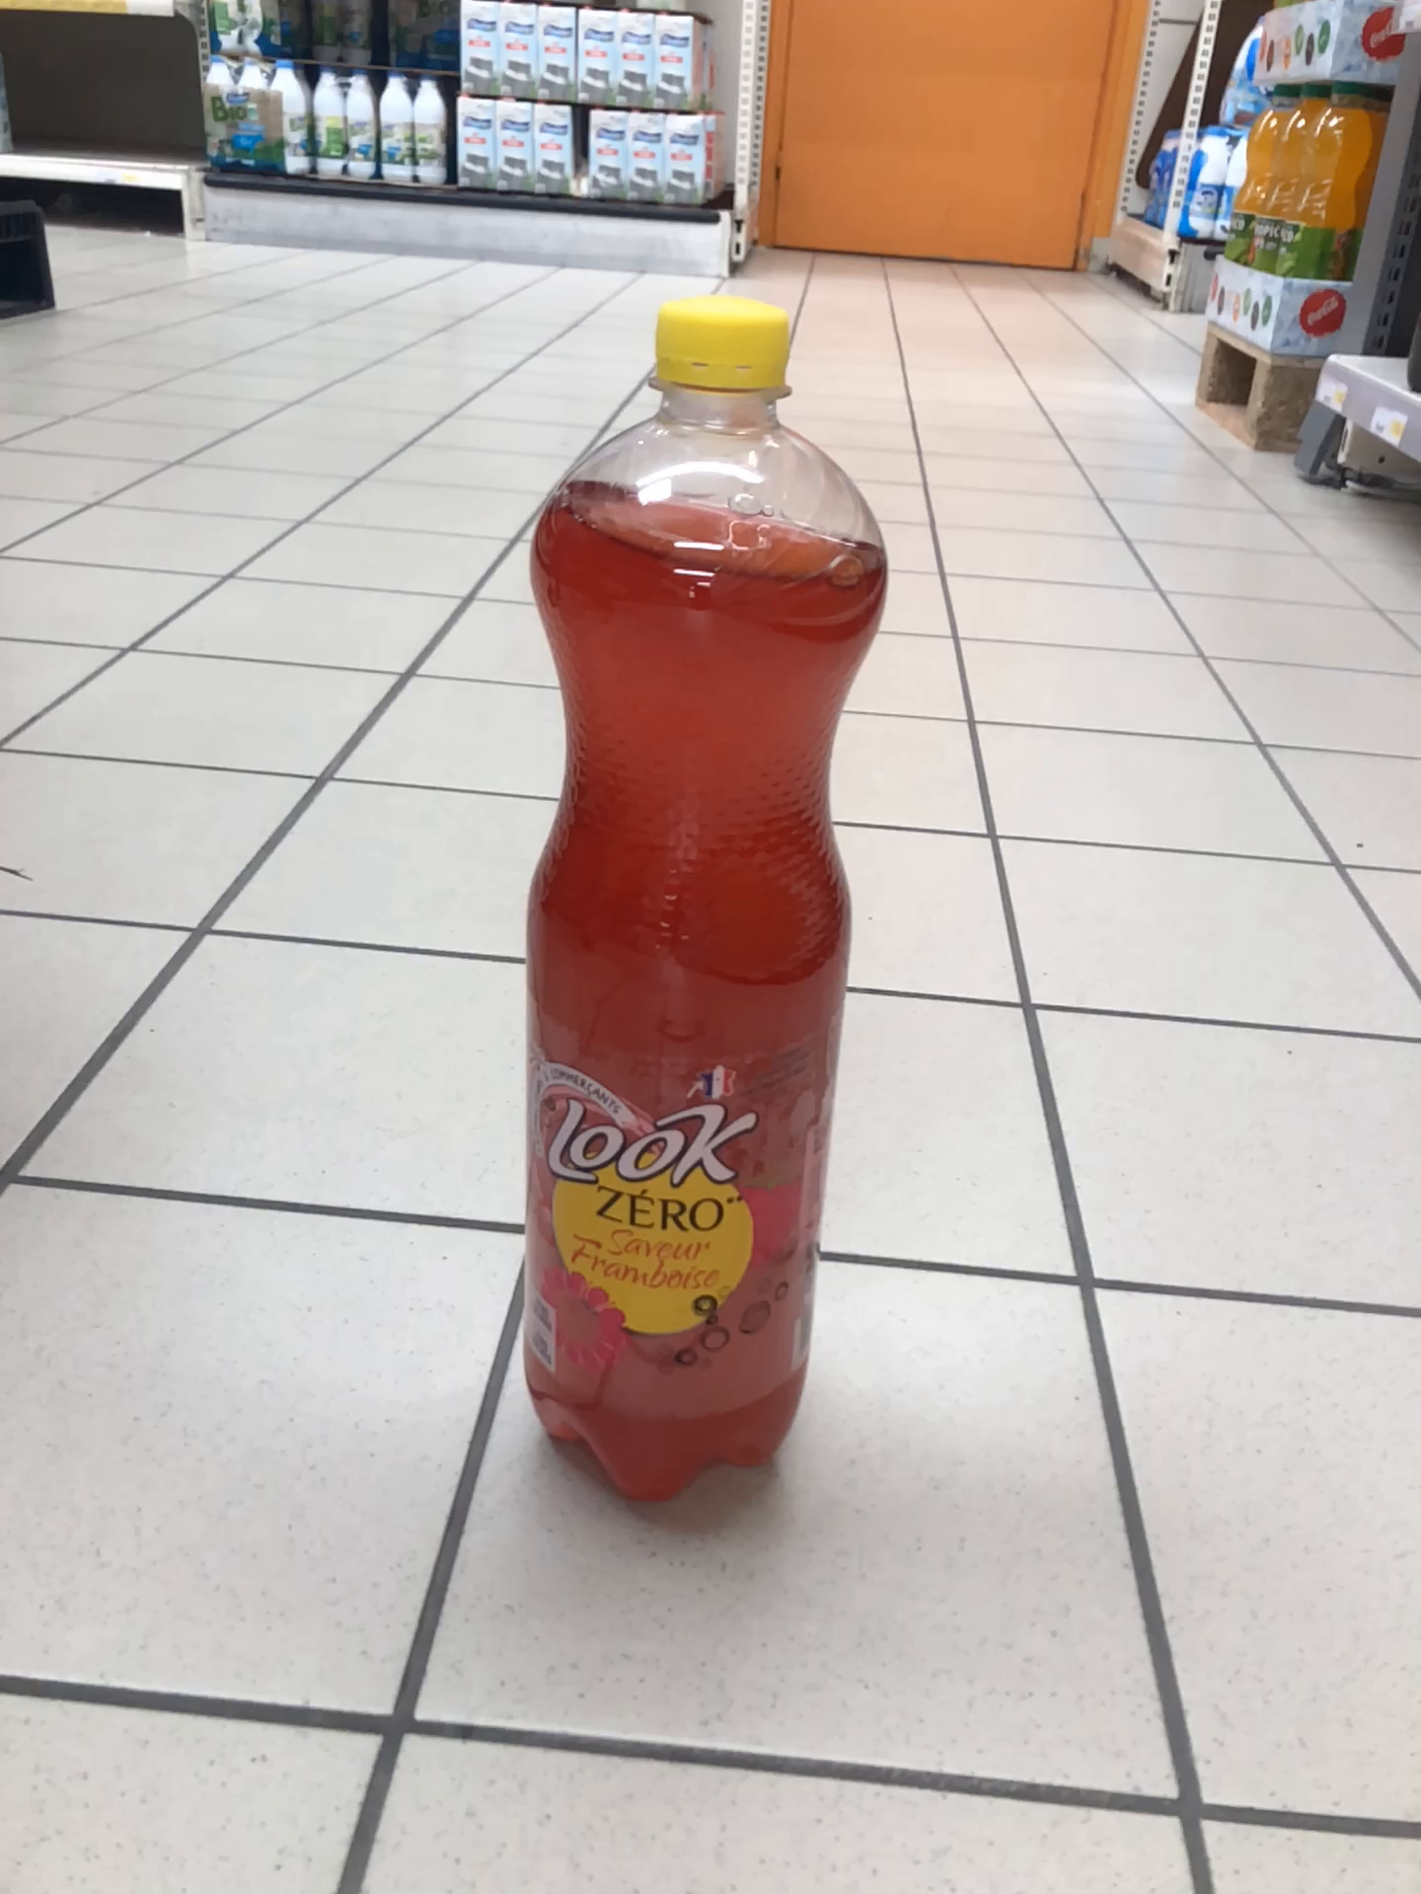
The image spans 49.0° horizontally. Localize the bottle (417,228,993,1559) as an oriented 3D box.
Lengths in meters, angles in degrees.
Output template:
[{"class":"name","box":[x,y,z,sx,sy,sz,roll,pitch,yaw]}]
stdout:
[{"class":"bottle","box":[-0.007,-0.005,0.413,0.100,0.328,0.091,13,28,17]}]
